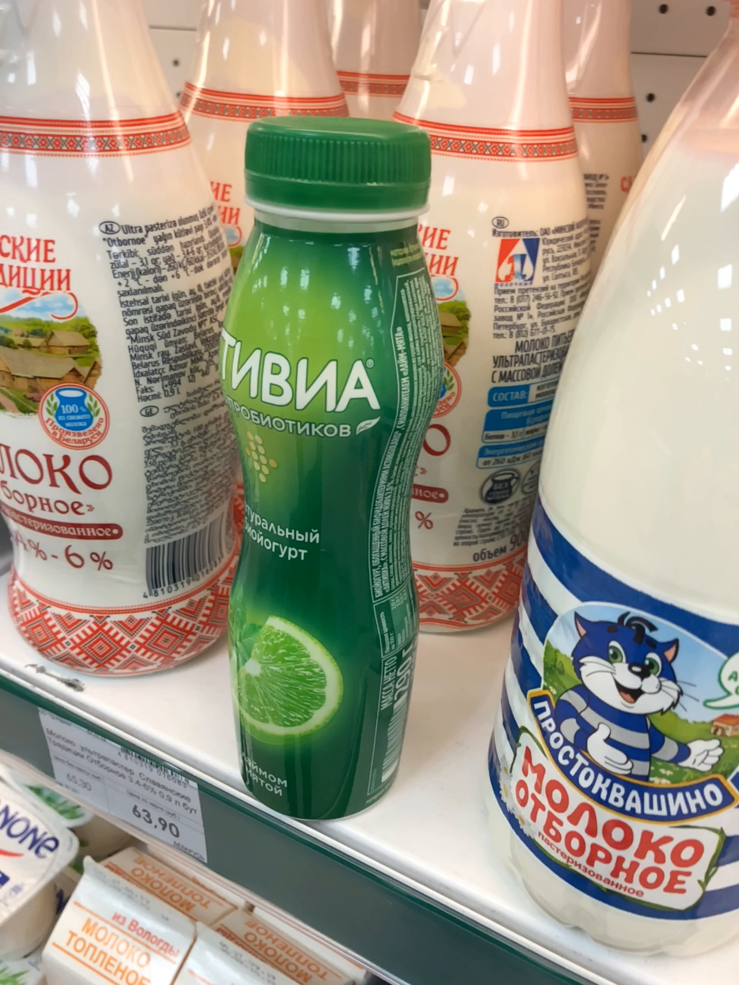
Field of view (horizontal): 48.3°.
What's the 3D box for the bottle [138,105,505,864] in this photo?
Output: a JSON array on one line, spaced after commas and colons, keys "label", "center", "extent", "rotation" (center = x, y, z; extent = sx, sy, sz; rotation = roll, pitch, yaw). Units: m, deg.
[{"label": "bottle", "center": [-0.014, 0.003, 0.210], "extent": [0.053, 0.179, 0.052], "rotation": [2, 29, -1]}]
